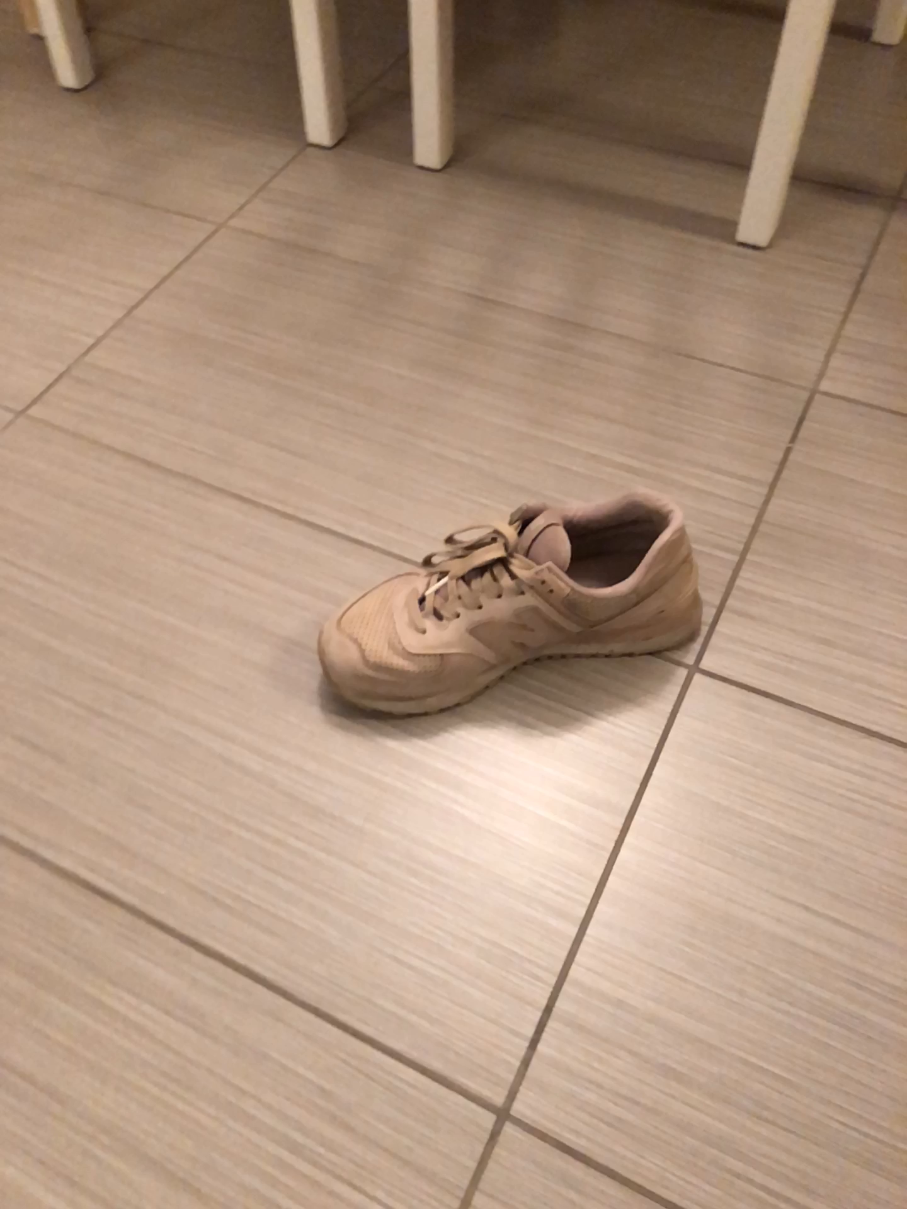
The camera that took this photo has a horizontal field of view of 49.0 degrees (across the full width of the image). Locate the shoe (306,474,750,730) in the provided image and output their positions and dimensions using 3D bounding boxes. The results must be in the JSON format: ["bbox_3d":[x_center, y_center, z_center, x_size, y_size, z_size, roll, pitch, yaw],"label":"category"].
[{"bbox_3d":[0.045,-0.002,0.673,0.270,0.090,0.100,-9,53,-2],"label":"shoe"}]
